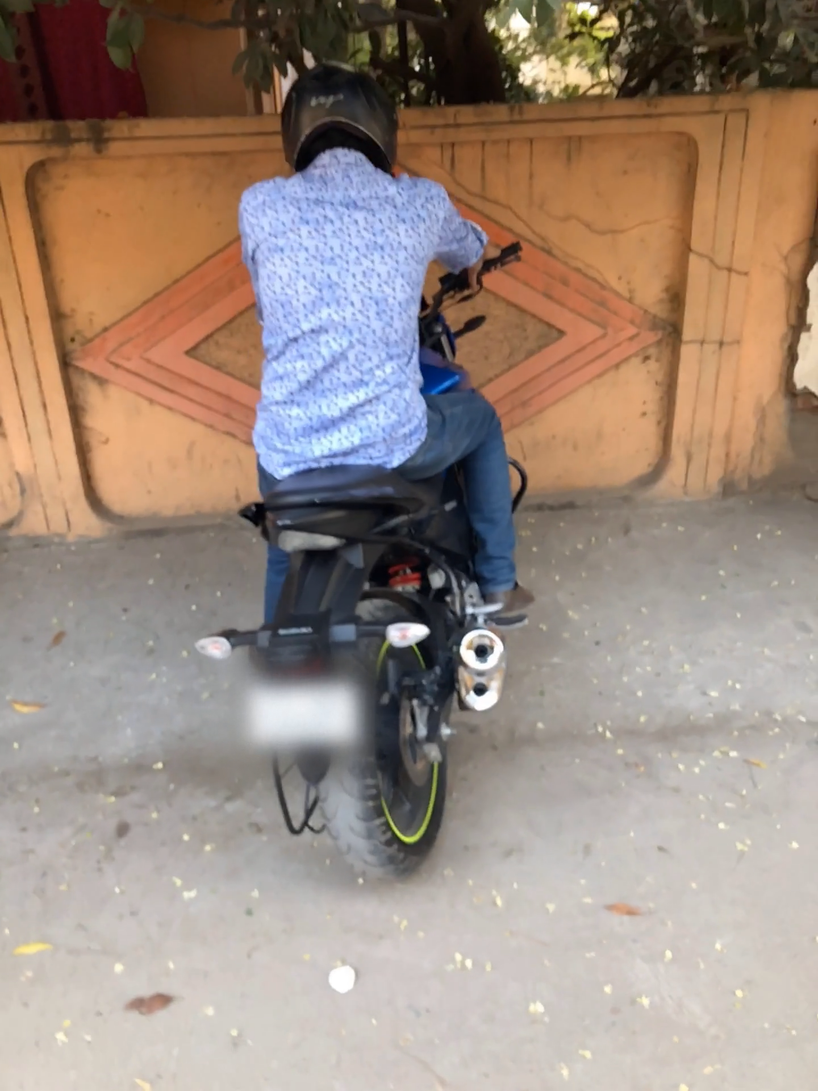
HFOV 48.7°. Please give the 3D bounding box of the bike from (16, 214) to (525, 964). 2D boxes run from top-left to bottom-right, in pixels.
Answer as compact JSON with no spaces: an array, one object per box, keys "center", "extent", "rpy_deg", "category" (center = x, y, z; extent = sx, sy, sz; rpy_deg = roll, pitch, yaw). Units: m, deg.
[{"center":[-0.126,-0.161,2.442],"extent":[0.793,1.188,1.899],"rpy_deg":[1,26,6],"category":"bike"}]
